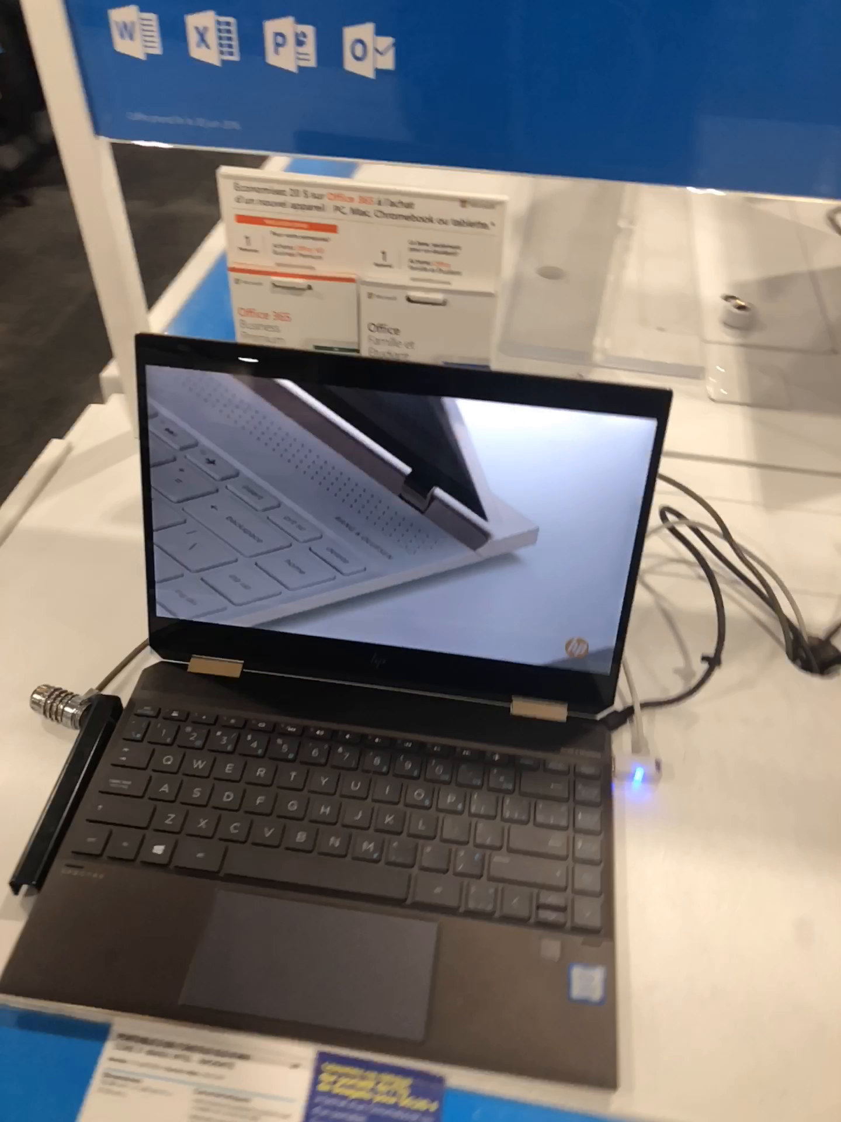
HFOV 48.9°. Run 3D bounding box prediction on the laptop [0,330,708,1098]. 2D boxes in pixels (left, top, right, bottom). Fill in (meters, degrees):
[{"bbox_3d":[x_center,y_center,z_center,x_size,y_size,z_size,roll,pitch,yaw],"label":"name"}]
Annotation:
[{"bbox_3d":[-0.039,0.058,0.474,0.297,0.197,0.286,7,43,4],"label":"laptop"}]
